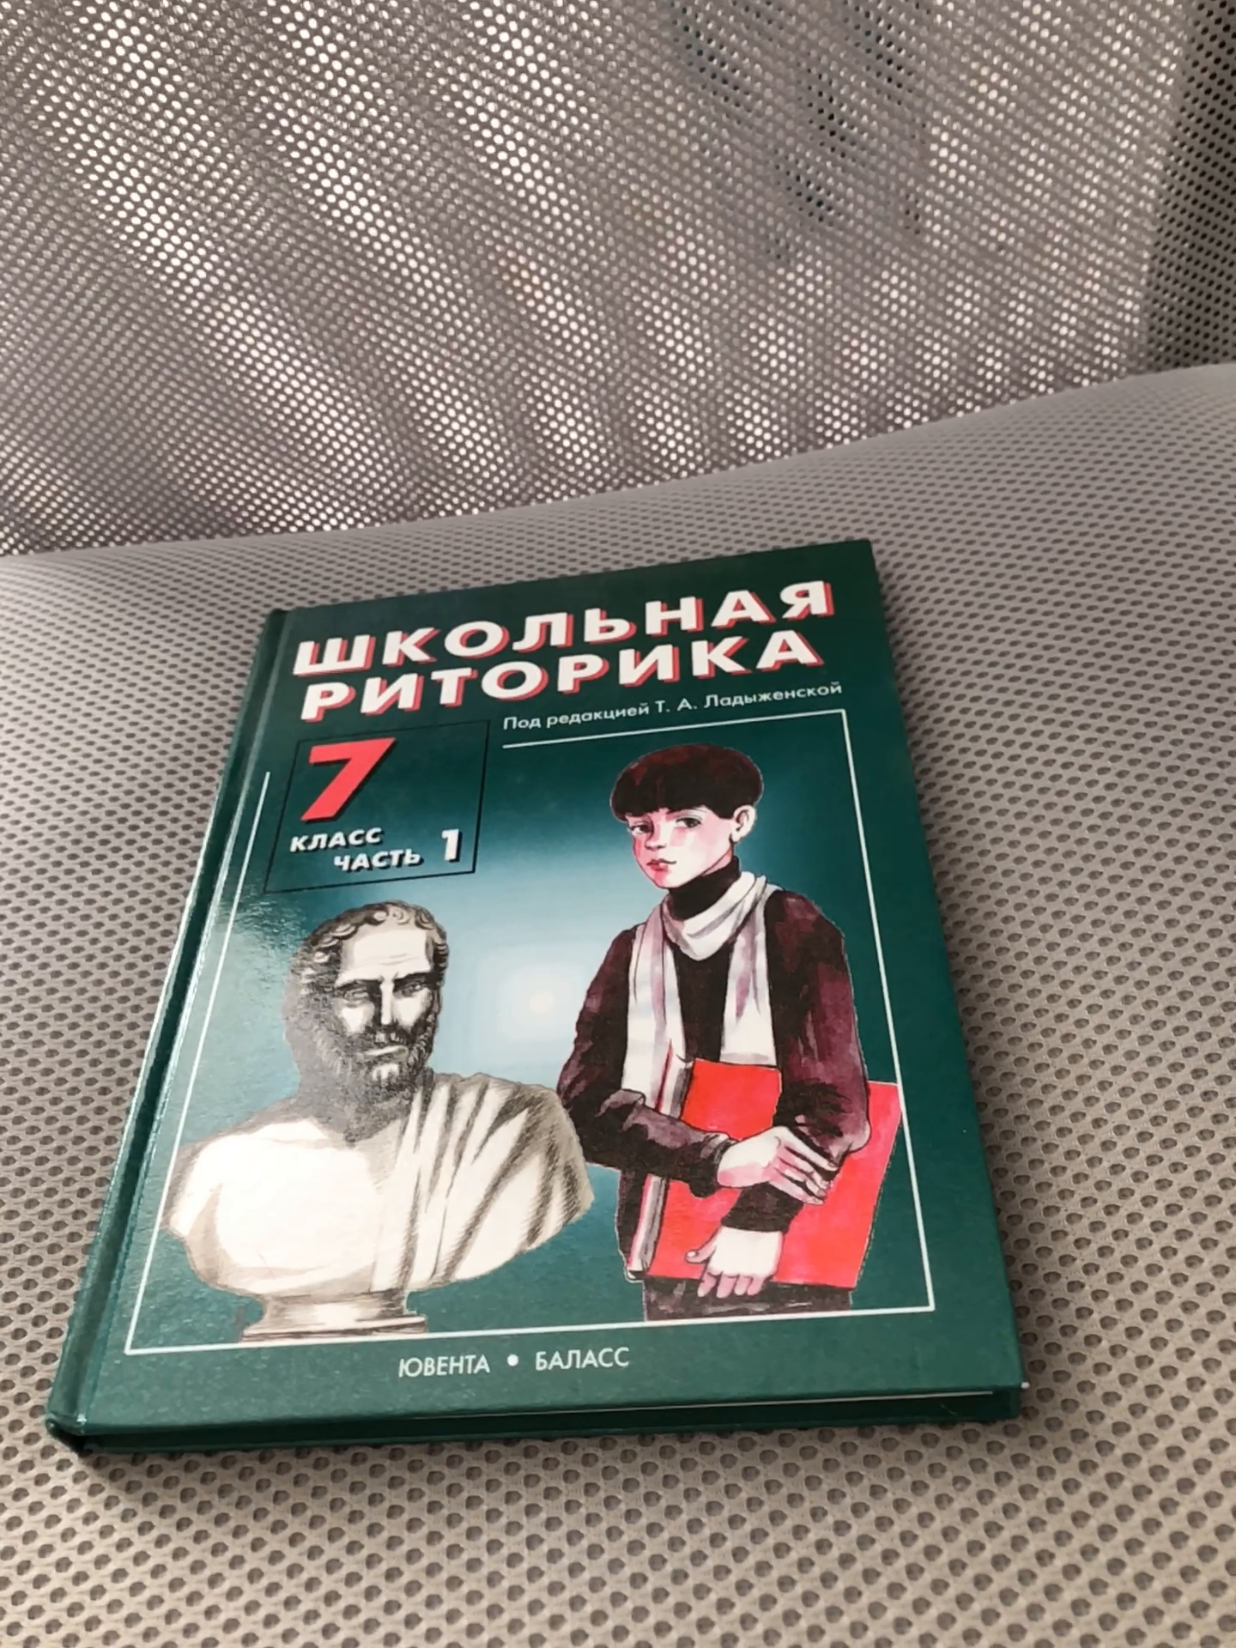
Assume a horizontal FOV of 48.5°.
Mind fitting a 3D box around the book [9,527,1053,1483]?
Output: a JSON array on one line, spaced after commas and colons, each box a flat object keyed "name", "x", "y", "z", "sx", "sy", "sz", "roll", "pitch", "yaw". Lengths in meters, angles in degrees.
[{"name": "book", "x": -0.015, "y": 0.022, "z": 0.296, "sx": 0.167, "sy": 0.030, "sz": 0.211, "roll": -6, "pitch": 48, "yaw": 6}]
